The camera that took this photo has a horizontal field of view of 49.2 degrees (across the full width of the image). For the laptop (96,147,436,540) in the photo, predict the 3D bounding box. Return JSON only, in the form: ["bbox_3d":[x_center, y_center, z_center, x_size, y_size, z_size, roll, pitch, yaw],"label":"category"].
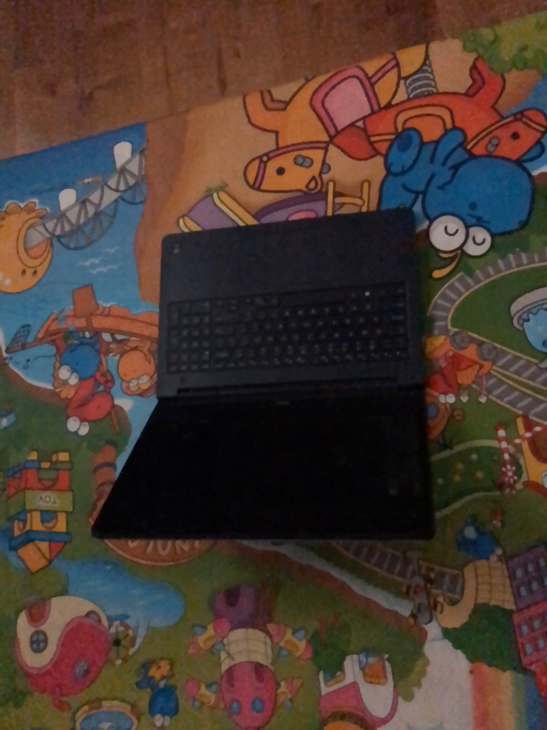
[{"bbox_3d":[-0.003,-0.012,0.743,0.361,0.159,0.429,-4,76,13],"label":"laptop"}]
